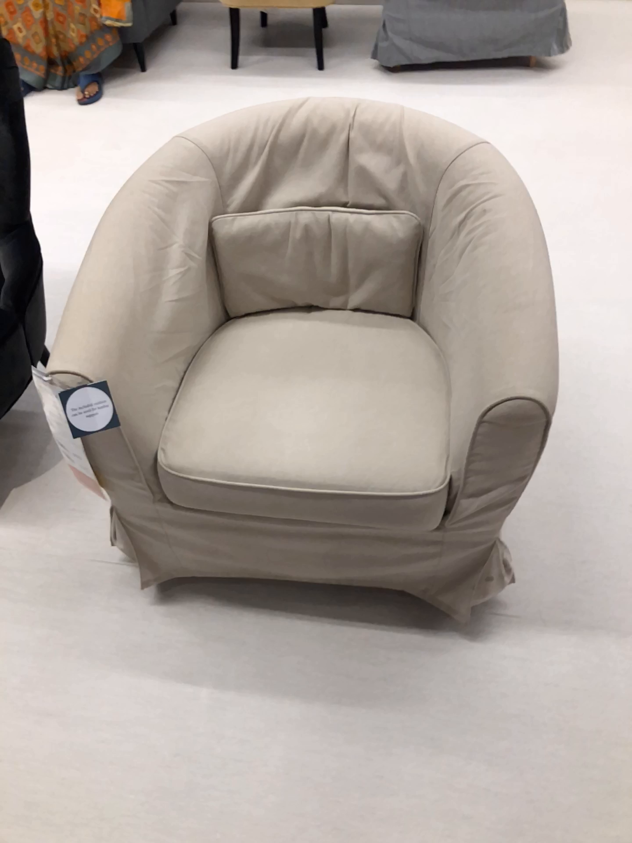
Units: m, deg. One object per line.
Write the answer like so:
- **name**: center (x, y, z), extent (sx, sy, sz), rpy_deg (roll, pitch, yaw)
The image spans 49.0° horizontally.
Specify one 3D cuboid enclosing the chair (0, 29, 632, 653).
- **chair**: center (-0.013, -0.126, 1.241), extent (0.860, 0.805, 0.704), rpy_deg (3, 50, 6)
